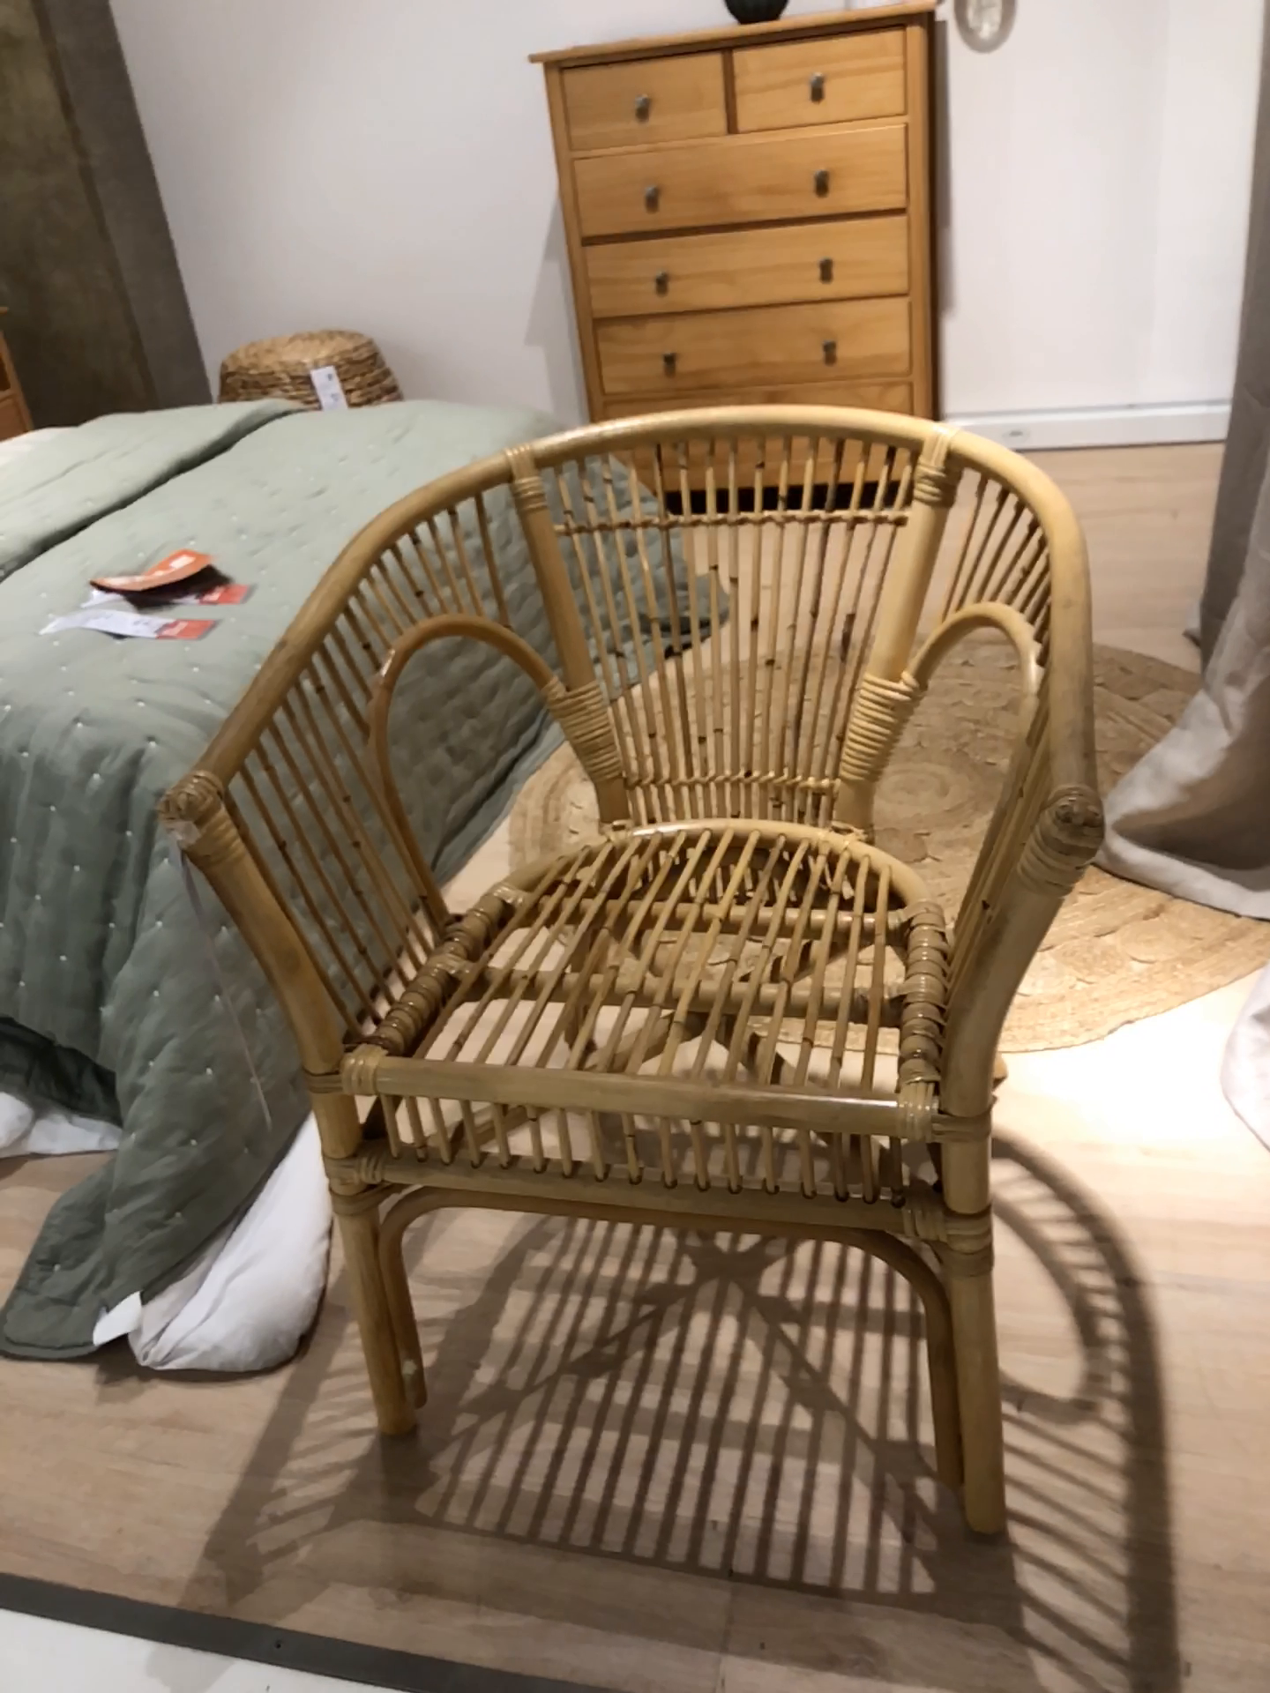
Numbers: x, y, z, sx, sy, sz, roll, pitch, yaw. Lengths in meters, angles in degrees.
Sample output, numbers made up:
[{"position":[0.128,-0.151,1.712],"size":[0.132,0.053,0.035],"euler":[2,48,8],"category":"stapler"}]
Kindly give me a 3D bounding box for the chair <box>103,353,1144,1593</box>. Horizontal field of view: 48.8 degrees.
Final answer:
[{"position":[0.089,0.054,1.200],"size":[0.590,0.754,0.635],"euler":[3,31,17],"category":"chair"}]
